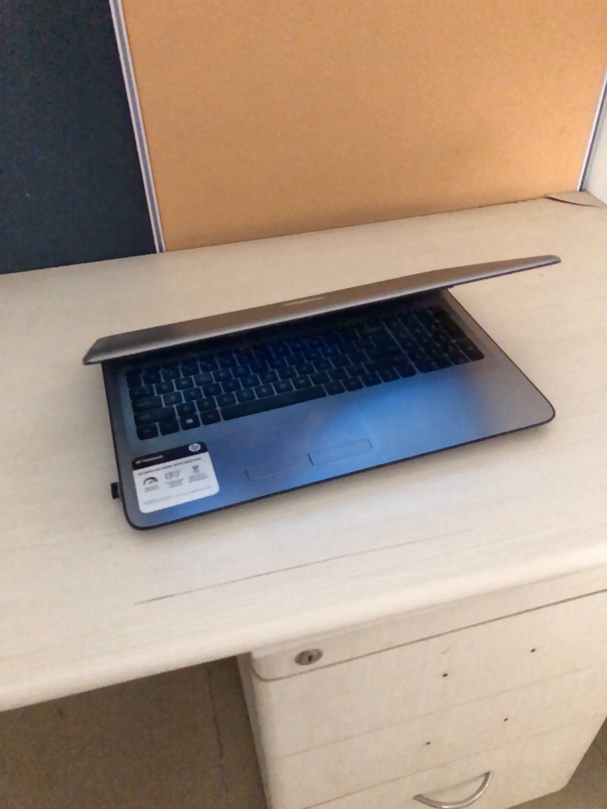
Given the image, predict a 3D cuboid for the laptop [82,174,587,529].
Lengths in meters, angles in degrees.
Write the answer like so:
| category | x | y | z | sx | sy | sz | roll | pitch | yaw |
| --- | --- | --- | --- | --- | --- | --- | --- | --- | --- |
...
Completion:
| category | x | y | z | sx | sy | sz | roll | pitch | yaw |
| --- | --- | --- | --- | --- | --- | --- | --- | --- | --- |
| laptop | 0.010 | -0.071 | 0.590 | 0.364 | 0.132 | 0.239 | -13 | 41 | -13 |
